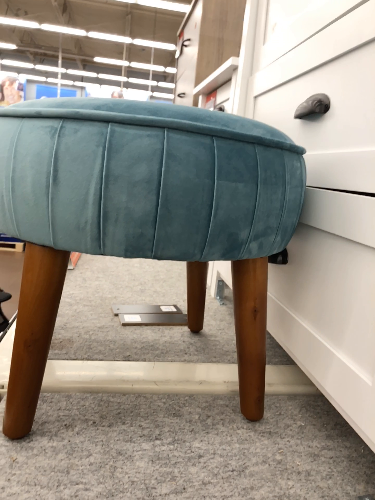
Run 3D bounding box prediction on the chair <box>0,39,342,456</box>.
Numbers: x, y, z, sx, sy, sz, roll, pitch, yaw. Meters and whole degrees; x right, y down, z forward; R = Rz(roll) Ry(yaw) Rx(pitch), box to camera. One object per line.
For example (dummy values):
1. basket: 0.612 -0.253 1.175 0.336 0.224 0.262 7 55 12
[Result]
1. chair: -0.075 -0.008 0.600 0.370 0.399 0.371 5 10 -8
